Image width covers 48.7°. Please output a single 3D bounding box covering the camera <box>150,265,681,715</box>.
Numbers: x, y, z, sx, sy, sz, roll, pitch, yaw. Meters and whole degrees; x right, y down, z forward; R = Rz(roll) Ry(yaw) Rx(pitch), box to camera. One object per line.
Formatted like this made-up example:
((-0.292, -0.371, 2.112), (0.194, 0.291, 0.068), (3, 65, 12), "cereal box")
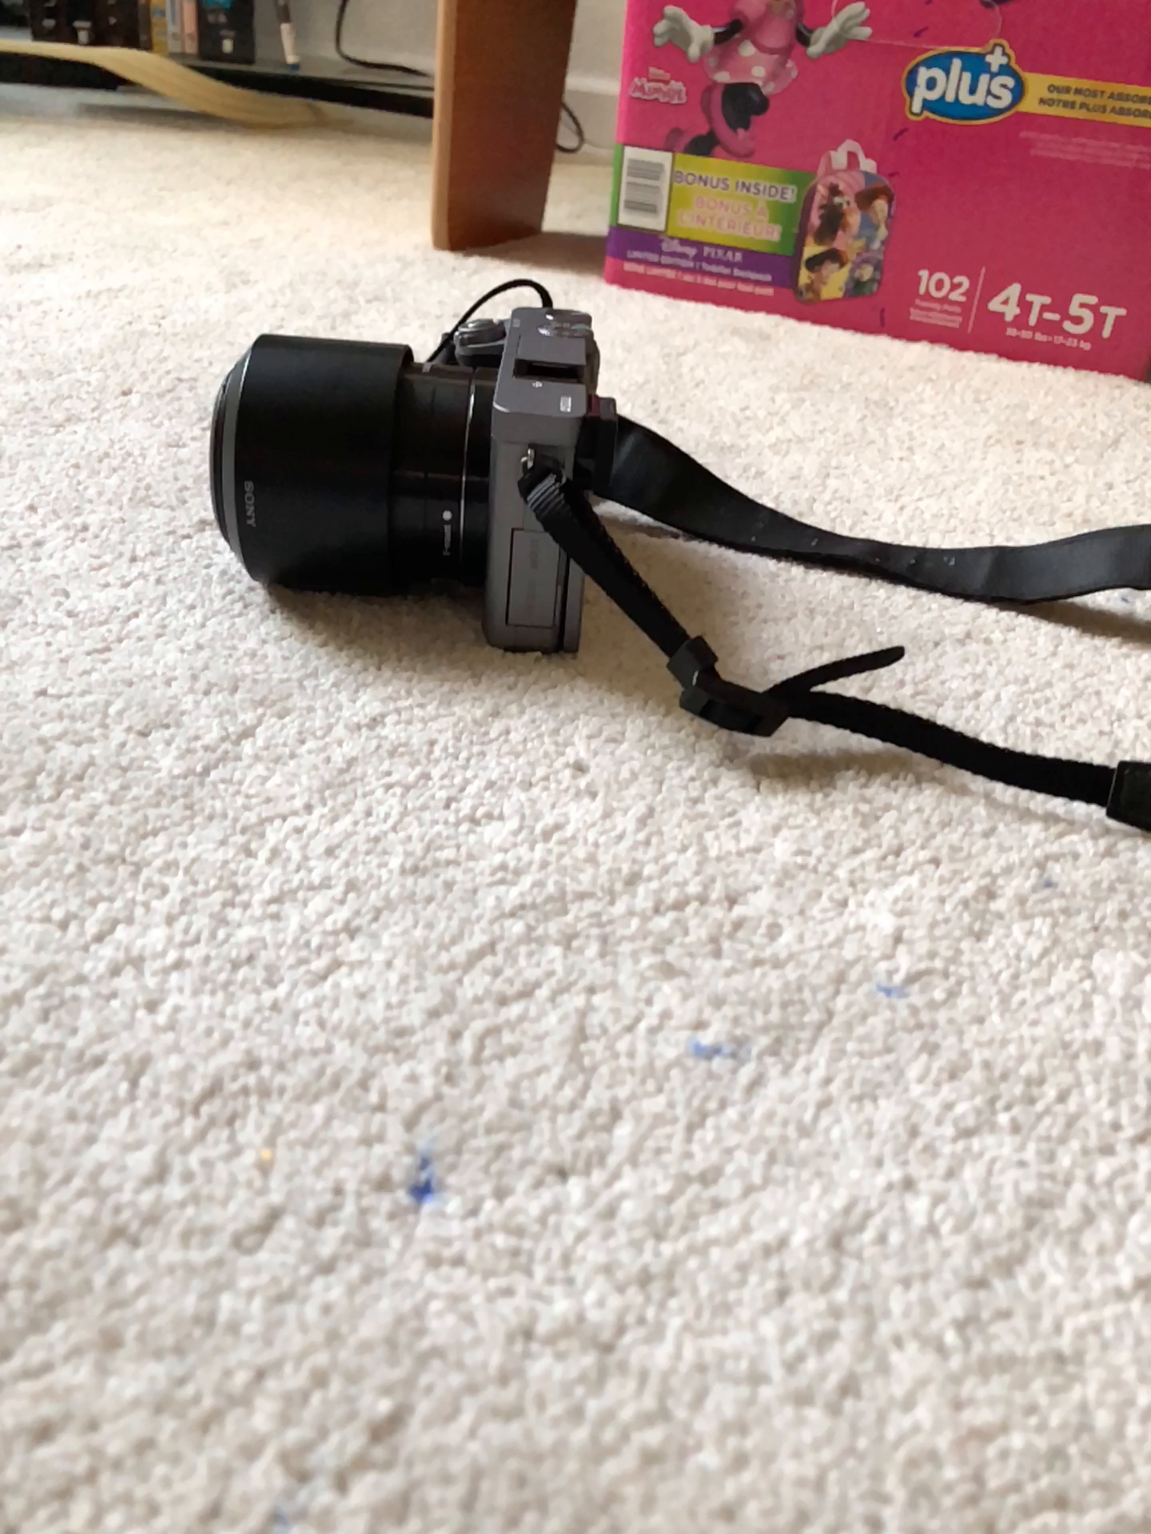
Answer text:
((-0.037, -0.082, 0.342), (0.110, 0.070, 0.141), (4, 30, -4), "camera")
